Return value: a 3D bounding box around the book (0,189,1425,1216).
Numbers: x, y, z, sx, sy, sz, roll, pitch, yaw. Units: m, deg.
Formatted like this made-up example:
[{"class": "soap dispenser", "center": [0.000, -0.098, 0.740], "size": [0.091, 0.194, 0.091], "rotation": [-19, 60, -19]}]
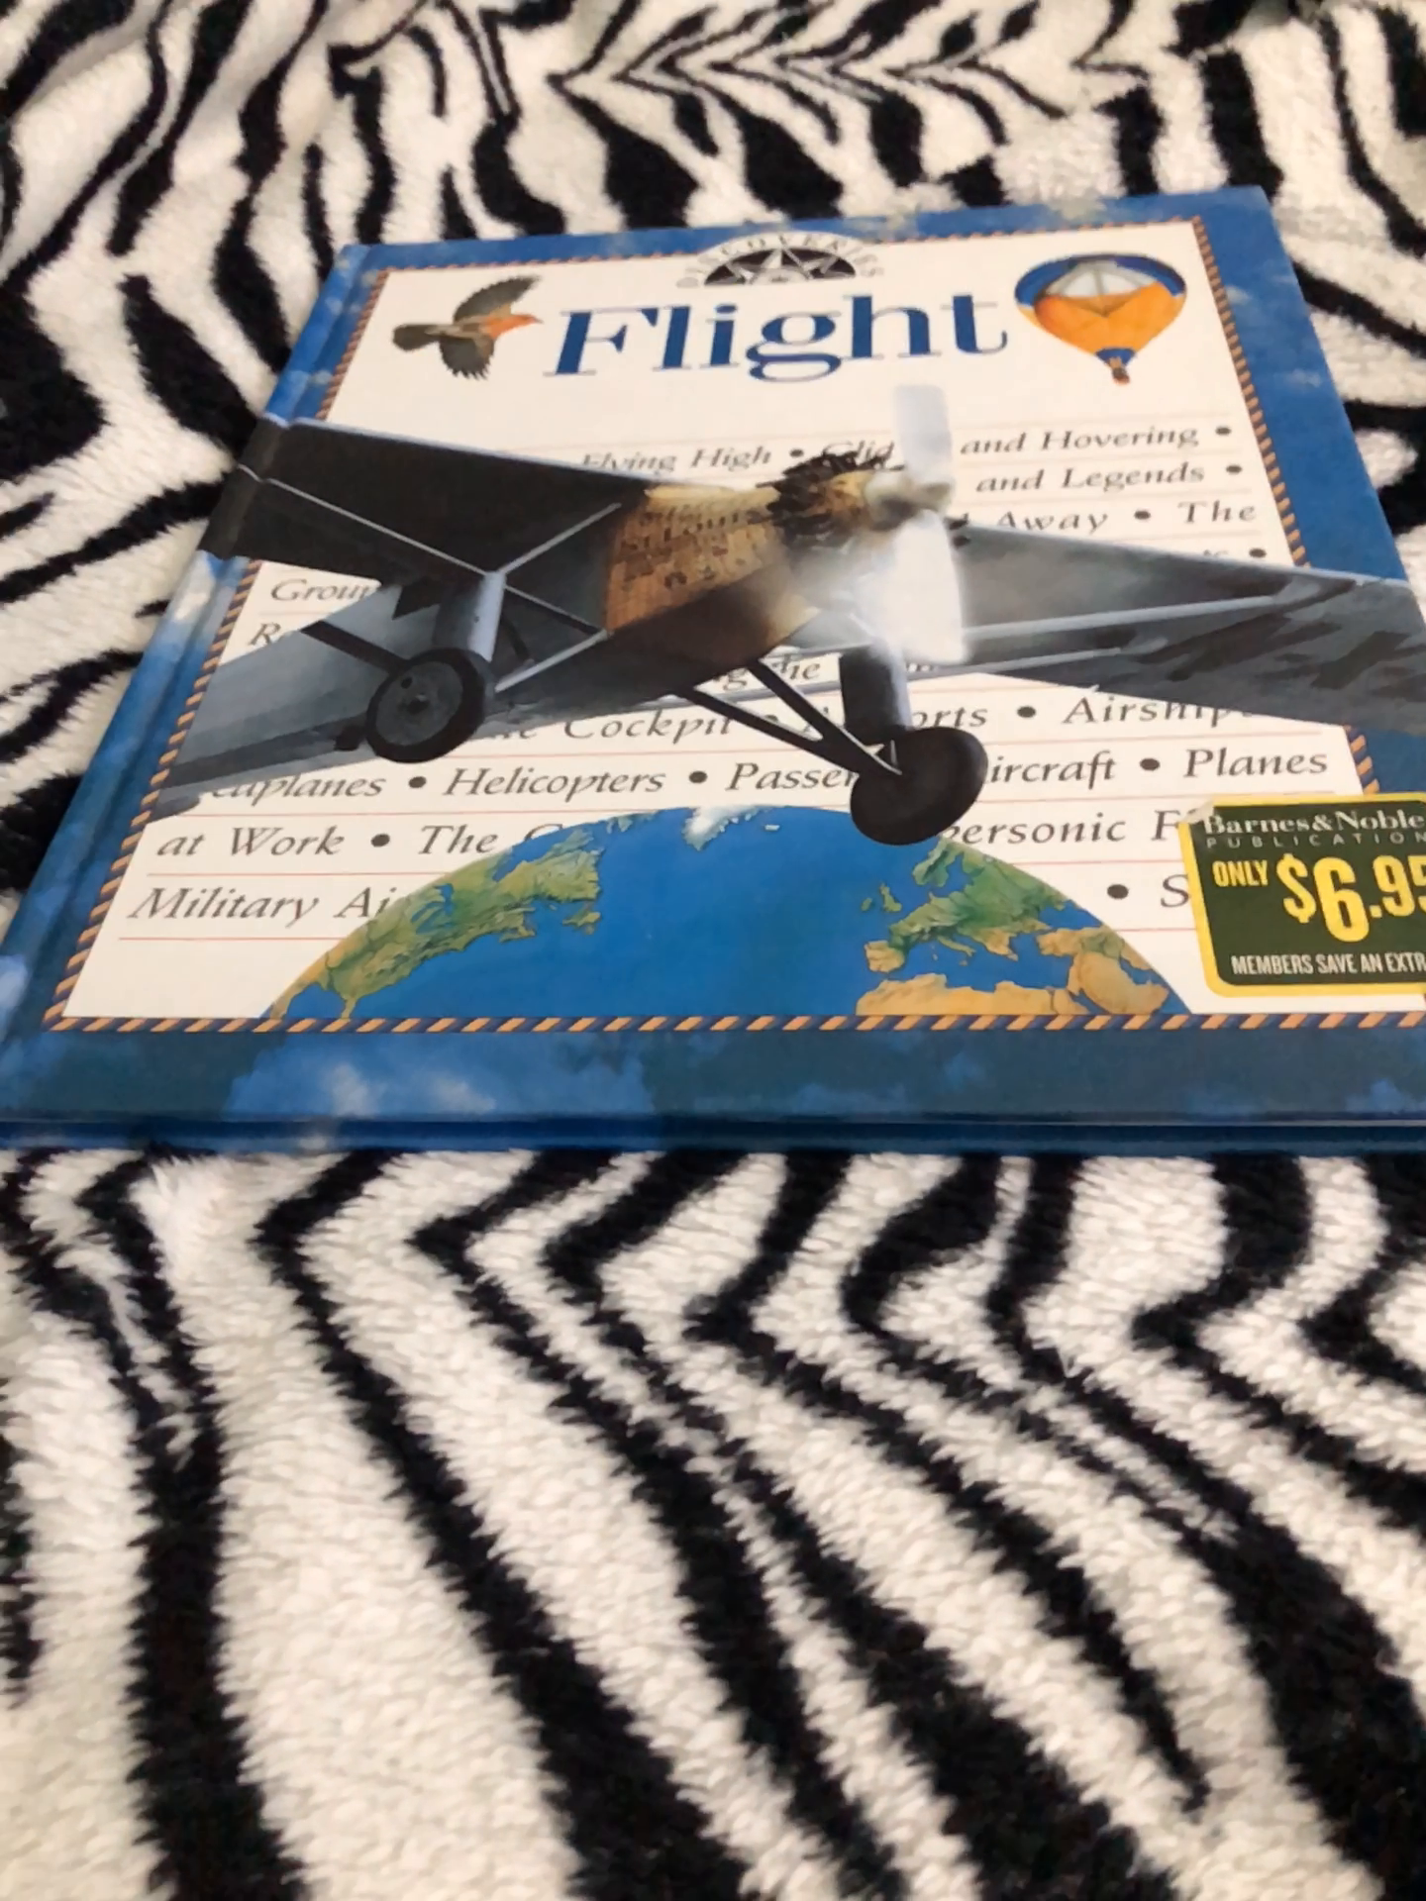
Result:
[{"class": "book", "center": [0.005, -0.081, 0.333], "size": [0.258, 0.020, 0.302], "rotation": [0, 48, 5]}]
